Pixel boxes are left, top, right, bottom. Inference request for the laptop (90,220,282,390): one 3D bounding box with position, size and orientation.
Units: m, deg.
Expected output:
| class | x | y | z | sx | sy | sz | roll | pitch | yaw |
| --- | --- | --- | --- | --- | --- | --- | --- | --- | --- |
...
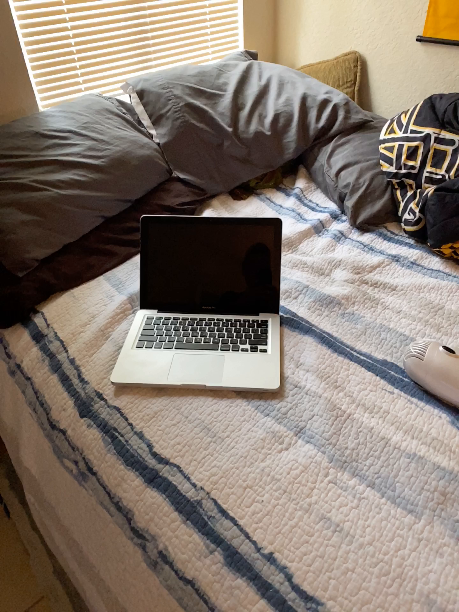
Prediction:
| class | x | y | z | sx | sy | sz | roll | pitch | yaw |
| --- | --- | --- | --- | --- | --- | --- | --- | --- | --- |
| laptop | -0.057 | -0.022 | 0.955 | 0.319 | 0.169 | 0.348 | 2 | 36 | 6 |
